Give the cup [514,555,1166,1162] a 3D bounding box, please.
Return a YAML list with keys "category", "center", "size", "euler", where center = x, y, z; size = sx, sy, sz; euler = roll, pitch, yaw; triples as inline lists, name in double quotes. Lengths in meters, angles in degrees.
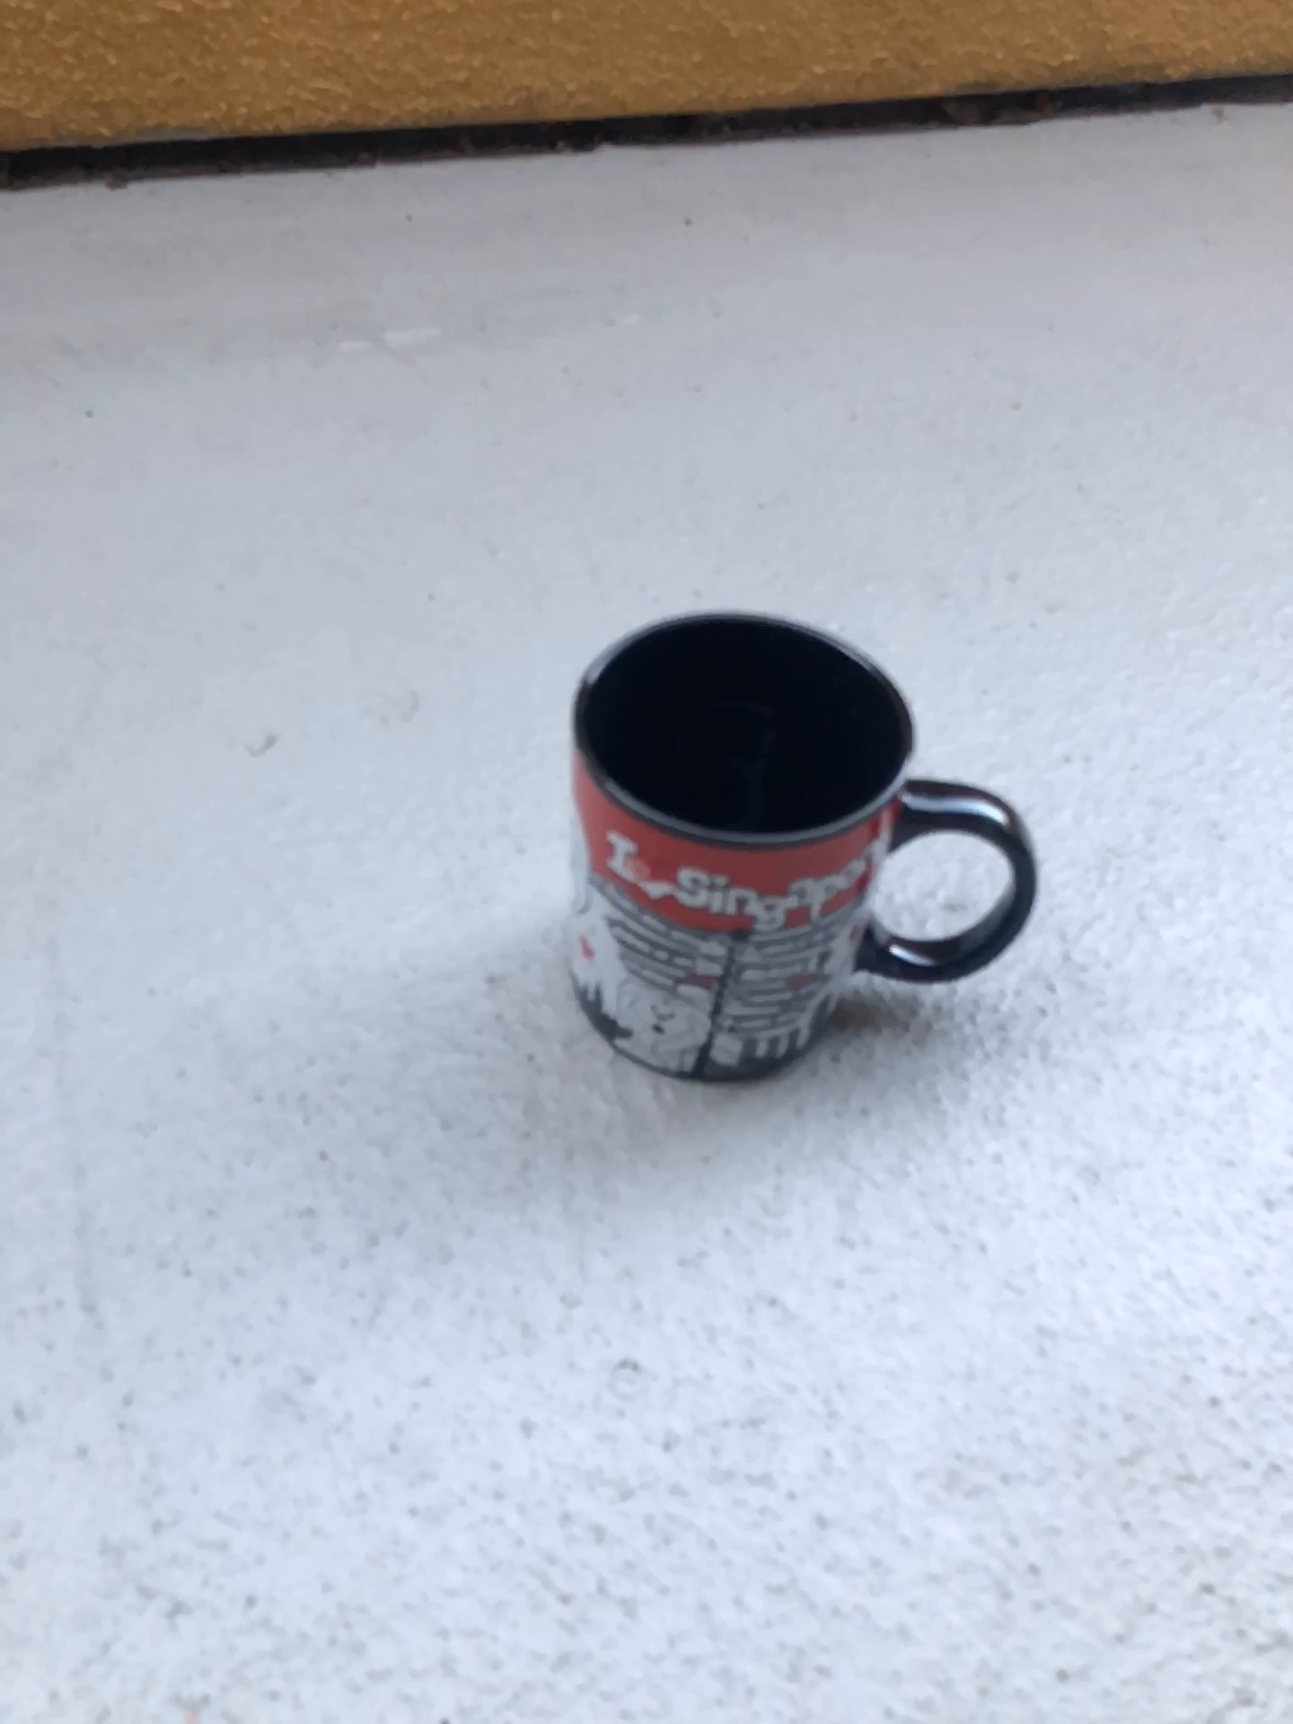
- category: "cup"
  center: [0.039, 0.002, 0.348]
  size: [0.130, 0.110, 0.080]
  euler: [8, 48, 2]
